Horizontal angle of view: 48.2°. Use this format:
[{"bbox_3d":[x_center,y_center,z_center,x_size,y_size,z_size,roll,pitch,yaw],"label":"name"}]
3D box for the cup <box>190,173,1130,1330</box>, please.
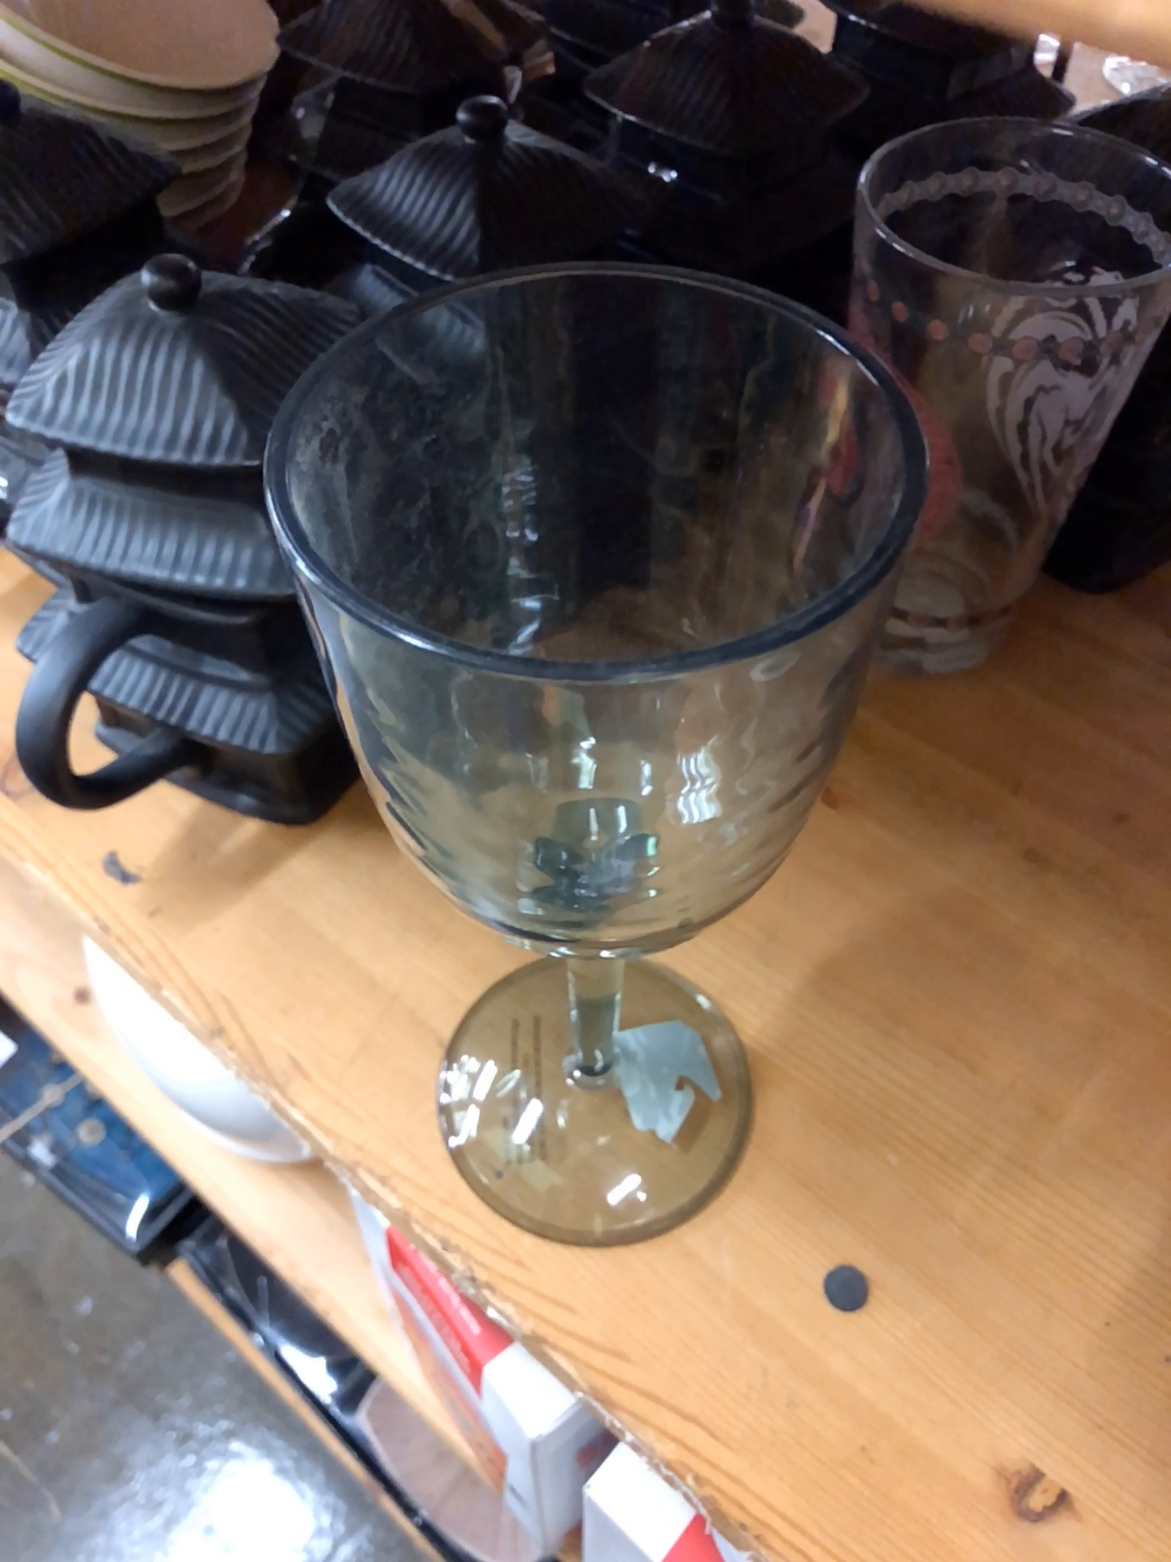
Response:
[{"bbox_3d":[0.008,0.011,0.261,0.094,0.204,0.091,0,51,0],"label":"cup"}]
